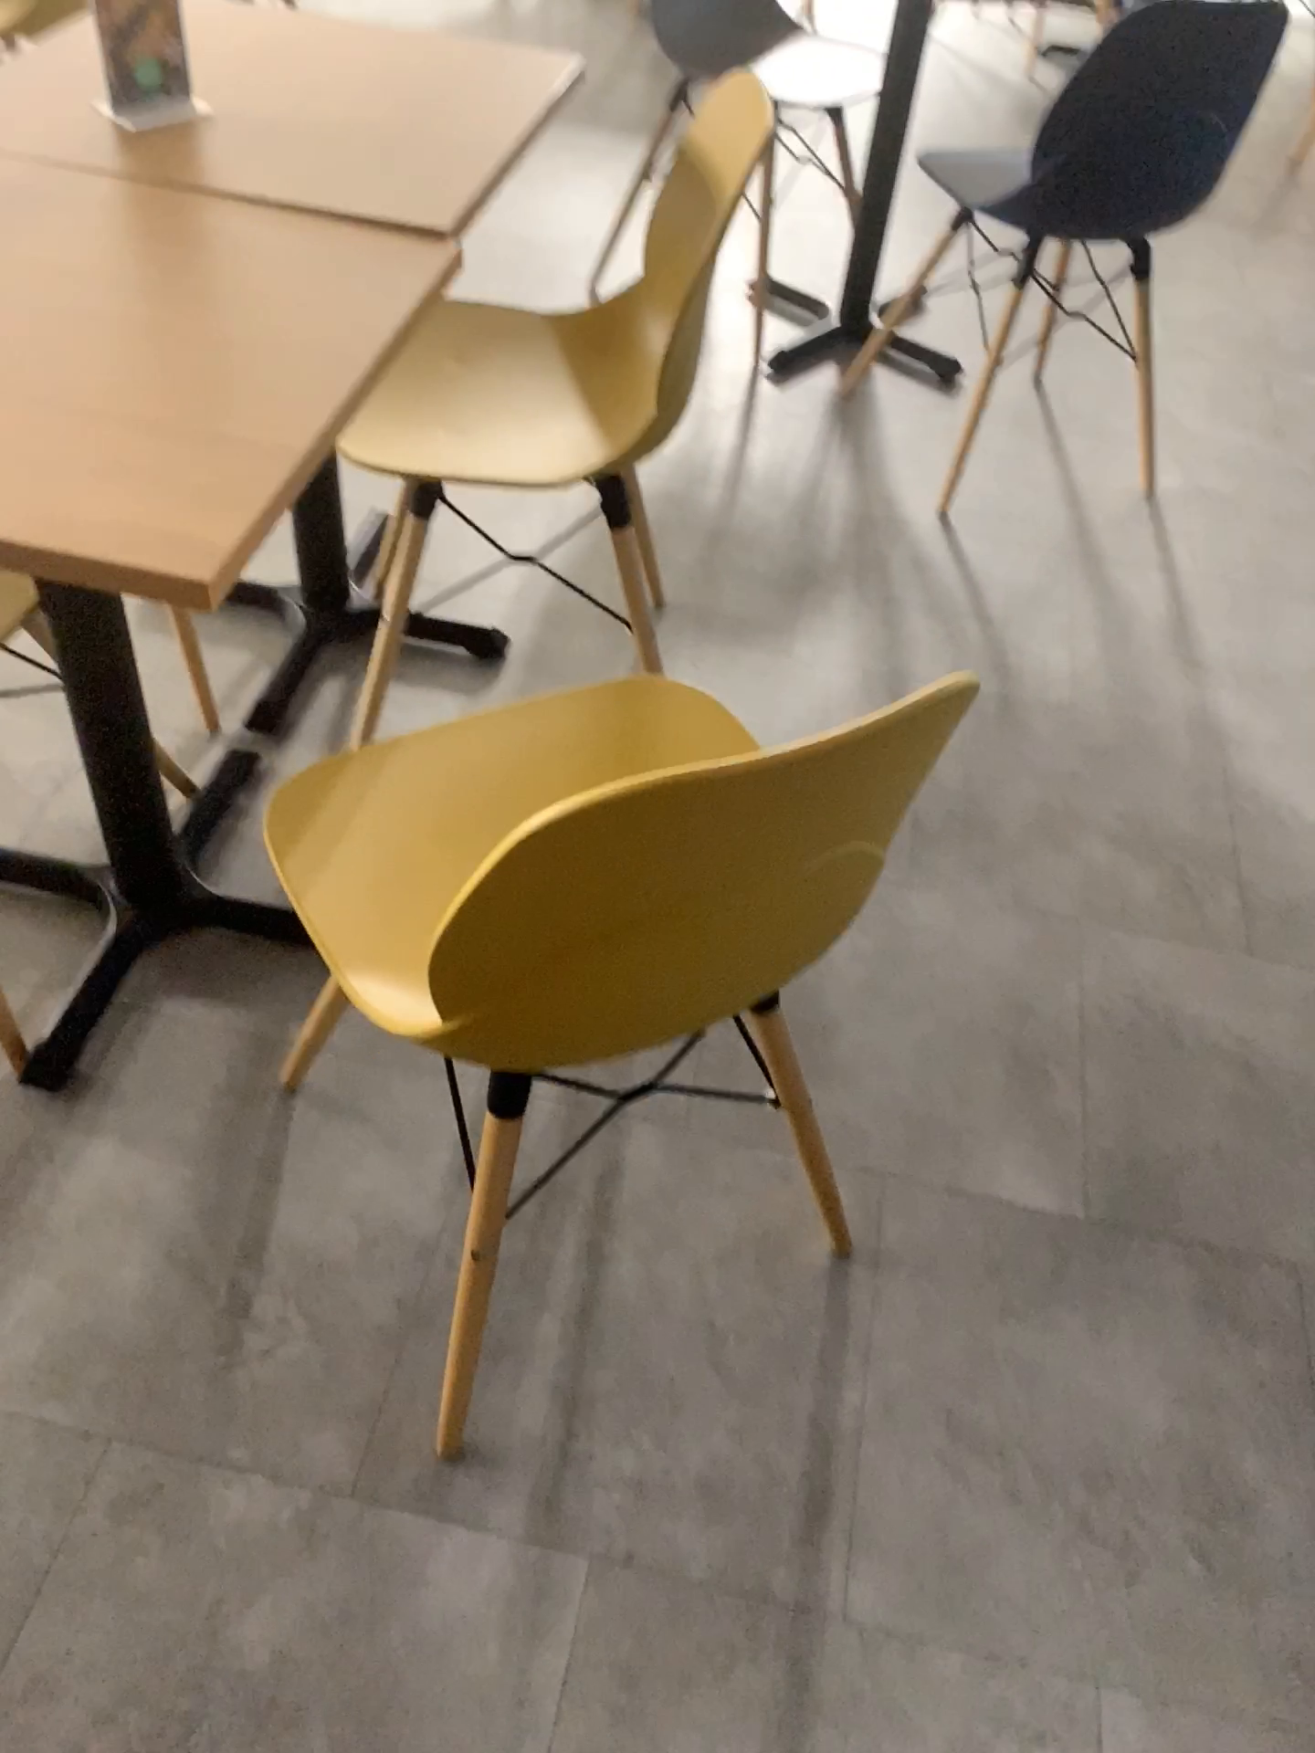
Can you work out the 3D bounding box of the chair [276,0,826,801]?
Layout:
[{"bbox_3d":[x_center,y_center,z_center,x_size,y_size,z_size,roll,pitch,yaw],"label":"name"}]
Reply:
[{"bbox_3d":[-0.134,-0.556,1.654,0.492,0.777,0.501,2,47,-5],"label":"chair"}]

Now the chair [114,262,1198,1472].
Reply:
[{"bbox_3d":[-0.048,0.010,1.142,0.518,0.786,0.495,-20,52,-24],"label":"chair"}]

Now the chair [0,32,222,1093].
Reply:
[{"bbox_3d":[-0.806,-0.262,1.284,0.492,0.777,0.501,9,46,2],"label":"chair"}]
